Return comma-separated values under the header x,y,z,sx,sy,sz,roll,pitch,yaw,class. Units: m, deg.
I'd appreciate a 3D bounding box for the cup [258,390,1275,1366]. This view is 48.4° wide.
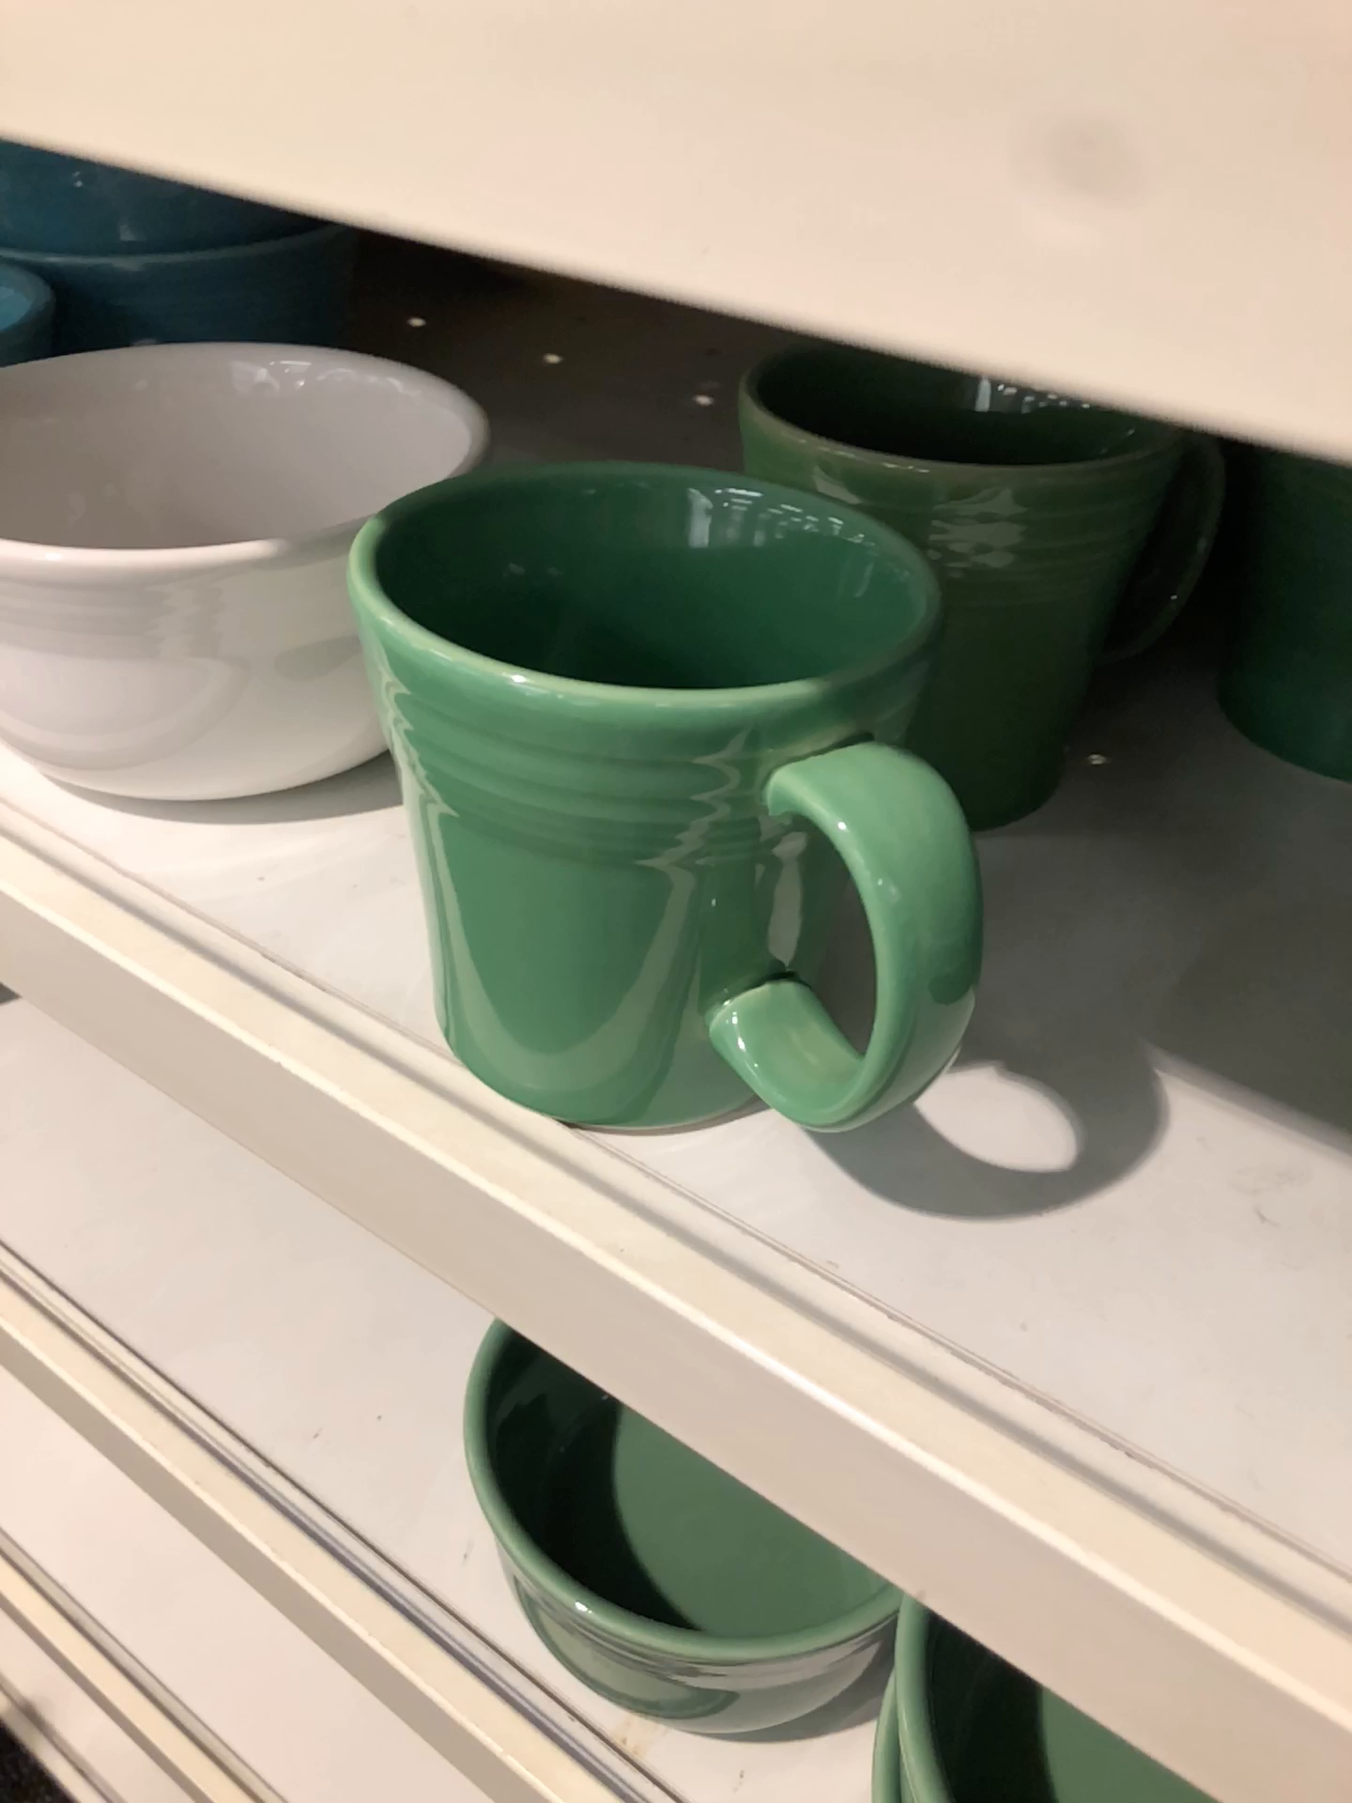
x,y,z,sx,sy,sz,roll,pitch,yaw,class
0.009,-0.017,0.279,0.107,0.098,0.134,-25,45,-30,cup
